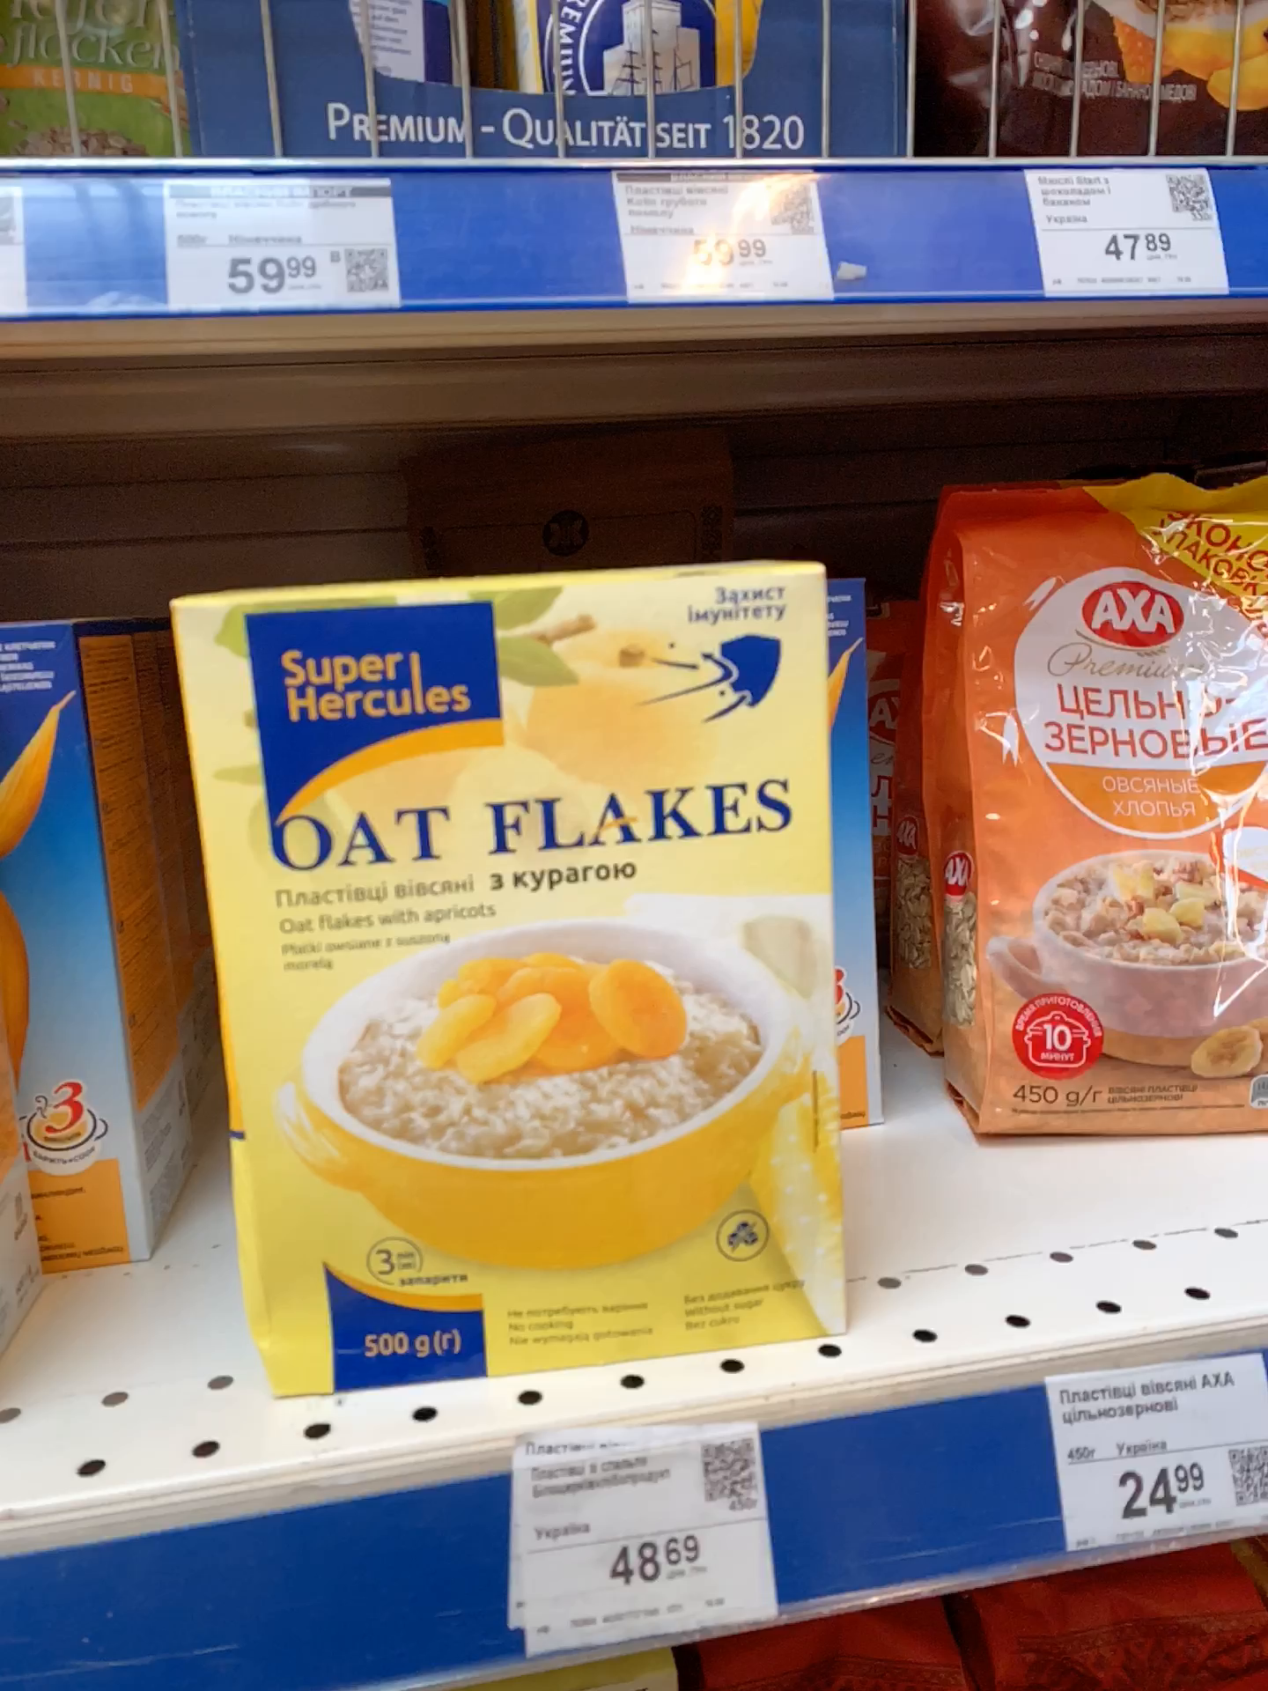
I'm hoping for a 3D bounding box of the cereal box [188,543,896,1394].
[{"bbox_3d":[-0.018,0.025,0.328,0.150,0.189,0.060,-4,11,-6],"label":"cereal box"}]
